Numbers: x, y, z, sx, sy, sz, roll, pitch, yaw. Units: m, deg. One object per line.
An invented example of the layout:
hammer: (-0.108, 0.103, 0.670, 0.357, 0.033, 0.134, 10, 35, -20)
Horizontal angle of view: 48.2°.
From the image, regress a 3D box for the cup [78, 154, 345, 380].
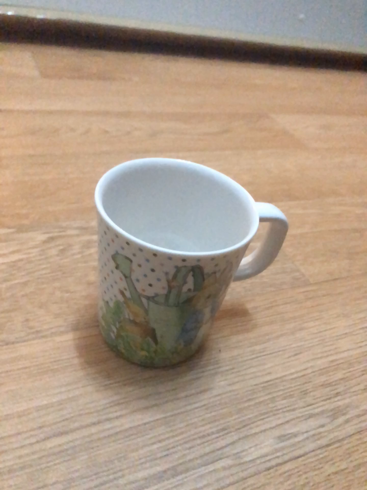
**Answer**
cup: (0.005, 0.006, 0.225, 0.110, 0.079, 0.080, -4, 41, -21)
